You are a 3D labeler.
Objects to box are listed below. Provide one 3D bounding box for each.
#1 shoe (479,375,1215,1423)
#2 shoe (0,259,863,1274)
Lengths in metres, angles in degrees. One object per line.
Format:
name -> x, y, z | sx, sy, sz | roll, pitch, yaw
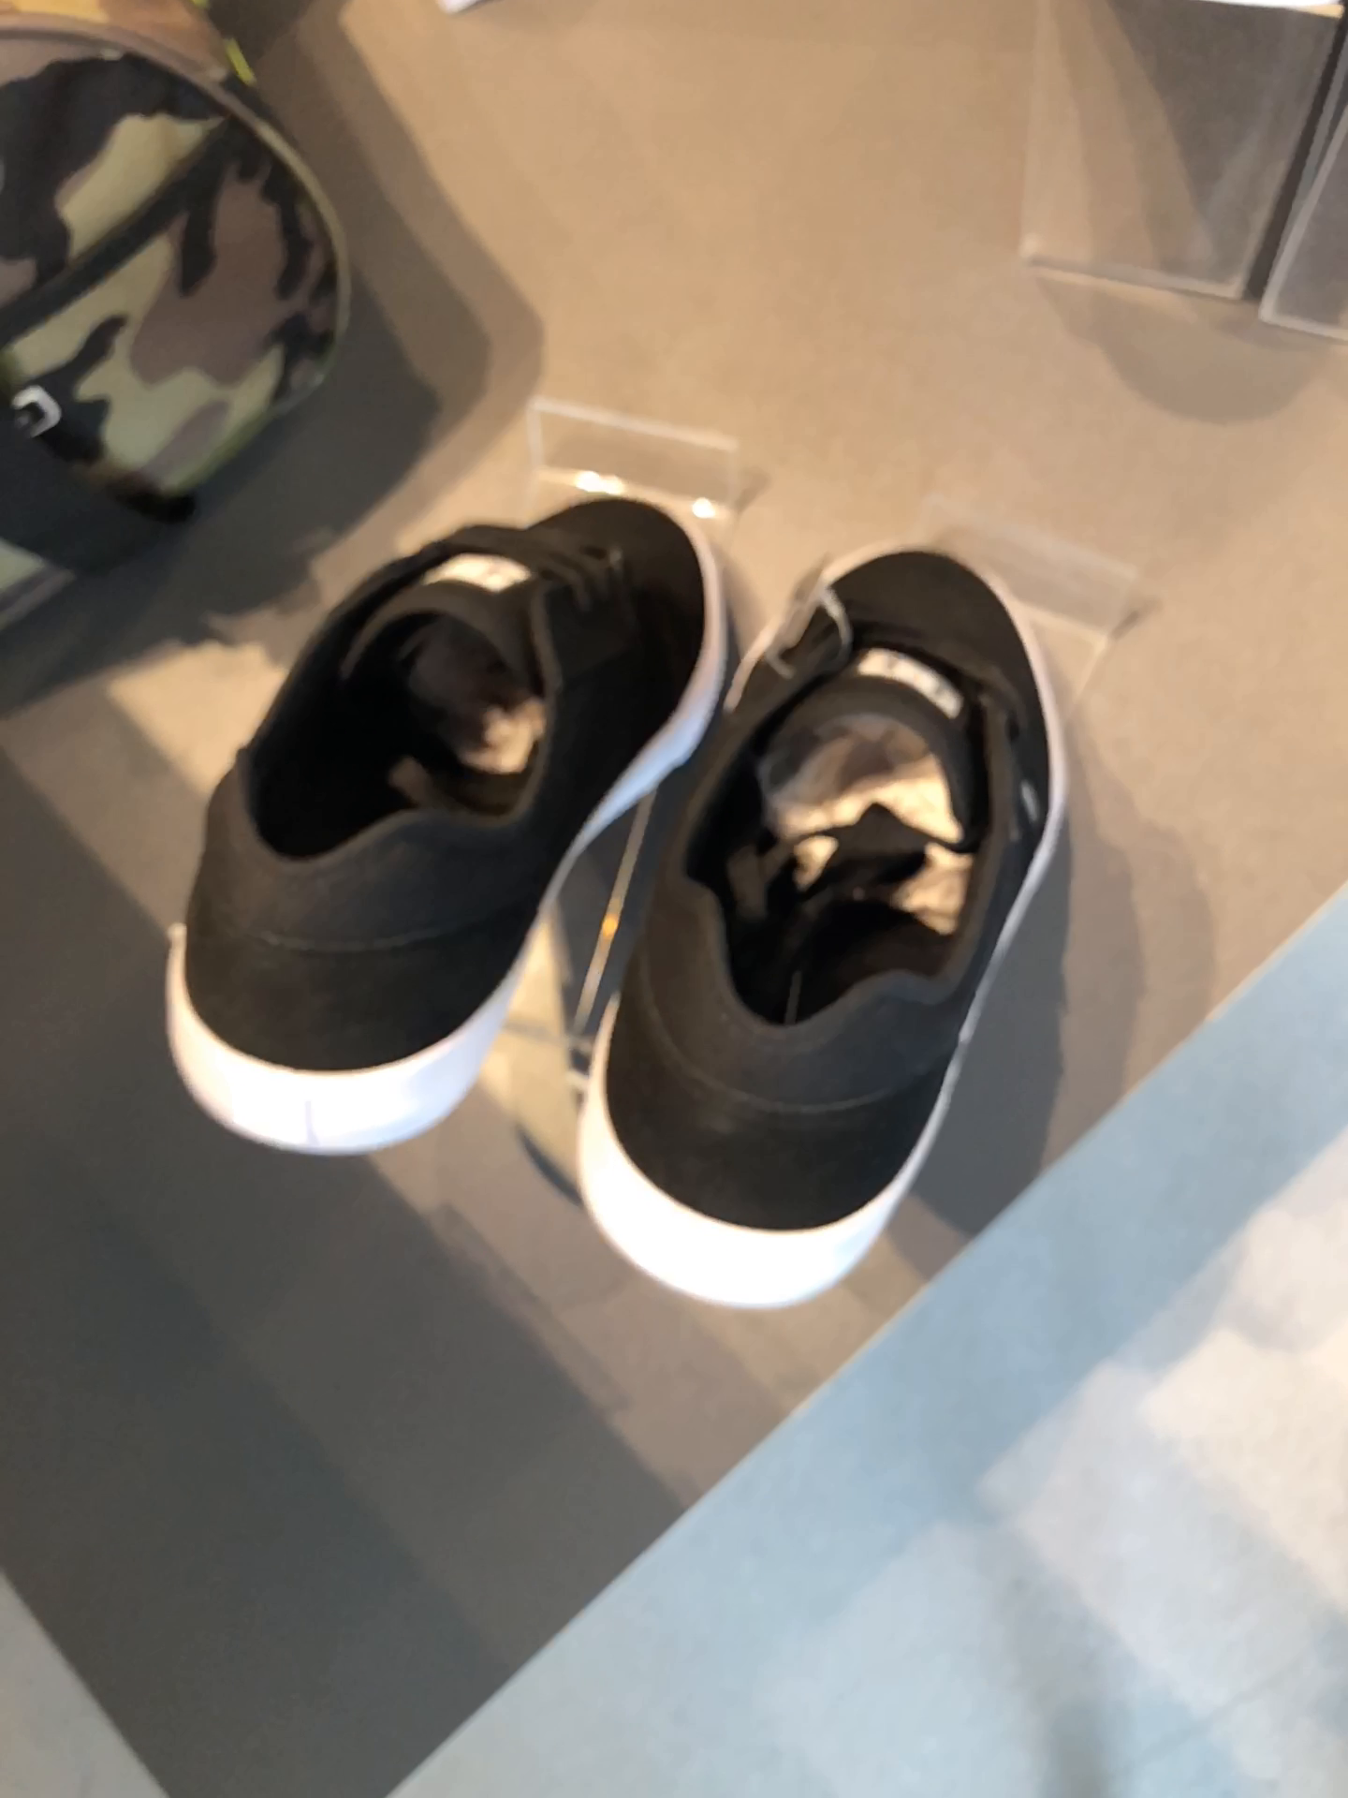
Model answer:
shoe -> 0.050, -0.015, 0.378 | 0.106, 0.107, 0.229 | 20, 48, 7
shoe -> -0.041, -0.048, 0.377 | 0.106, 0.107, 0.229 | 18, 48, 7
